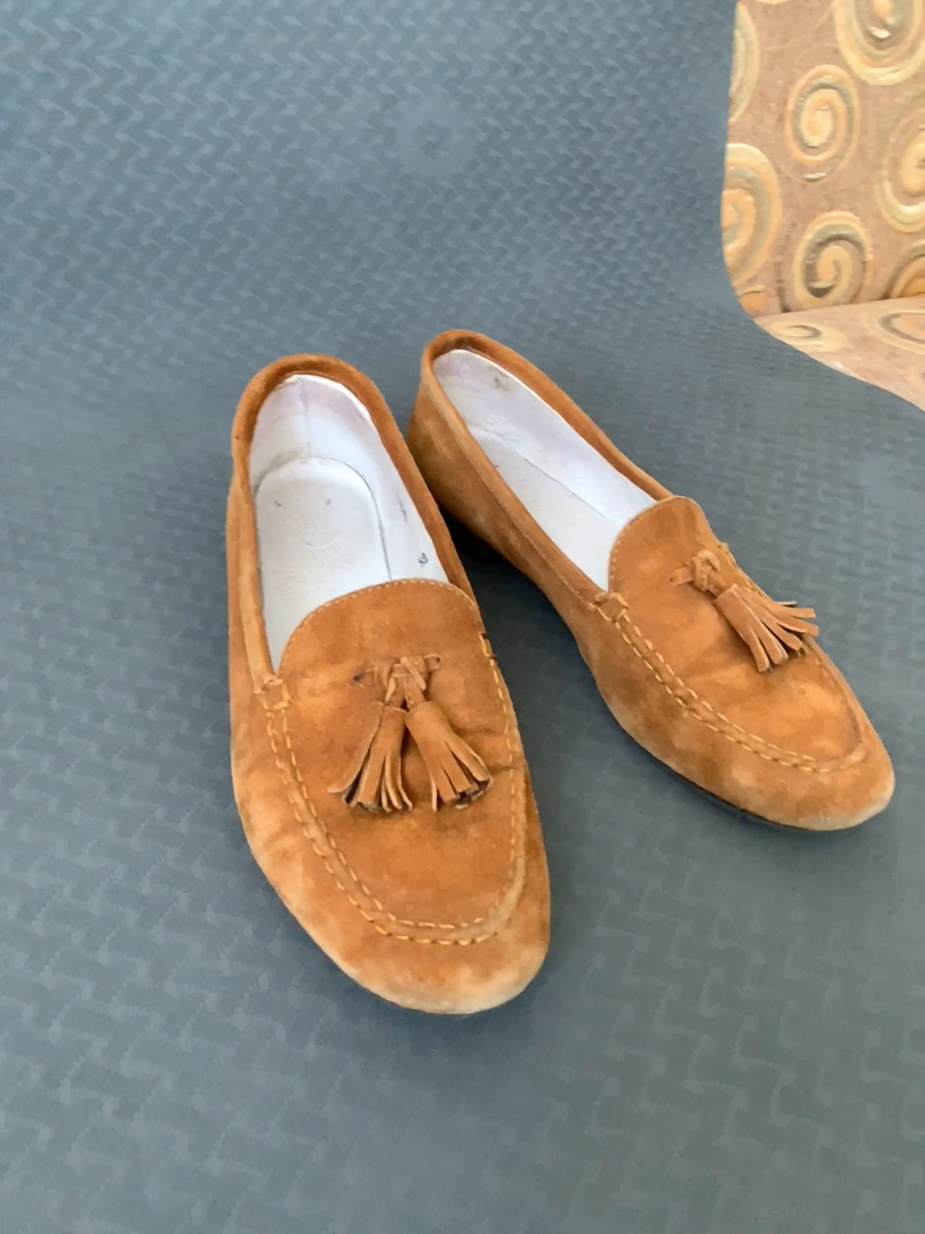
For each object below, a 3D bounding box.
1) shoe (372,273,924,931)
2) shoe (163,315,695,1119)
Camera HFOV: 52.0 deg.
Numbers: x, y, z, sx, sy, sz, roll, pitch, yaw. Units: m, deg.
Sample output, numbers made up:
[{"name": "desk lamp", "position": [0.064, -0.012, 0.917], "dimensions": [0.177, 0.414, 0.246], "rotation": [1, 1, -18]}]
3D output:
[{"name": "shoe", "position": [0.068, -0.024, 0.352], "dimensions": [0.090, 0.090, 0.241], "rotation": [-22, 53, -27]}, {"name": "shoe", "position": [-0.032, 0.008, 0.295], "dimensions": [0.090, 0.090, 0.231], "rotation": [-8, 48, -16]}]
